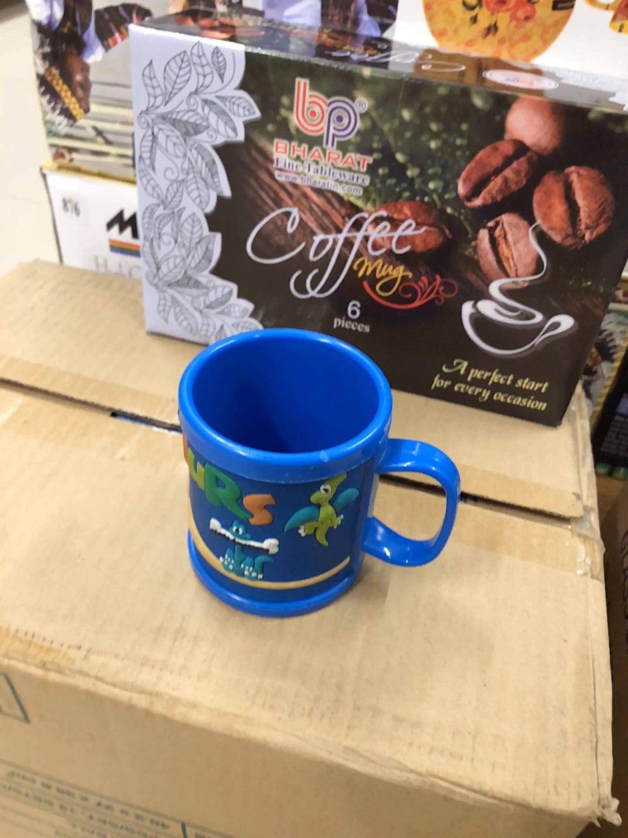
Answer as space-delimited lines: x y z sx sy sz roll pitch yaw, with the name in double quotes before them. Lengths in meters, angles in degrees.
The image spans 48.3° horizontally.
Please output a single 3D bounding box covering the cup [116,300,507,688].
"cup" 0.001 0.026 0.287 0.120 0.089 0.091 17 43 13
